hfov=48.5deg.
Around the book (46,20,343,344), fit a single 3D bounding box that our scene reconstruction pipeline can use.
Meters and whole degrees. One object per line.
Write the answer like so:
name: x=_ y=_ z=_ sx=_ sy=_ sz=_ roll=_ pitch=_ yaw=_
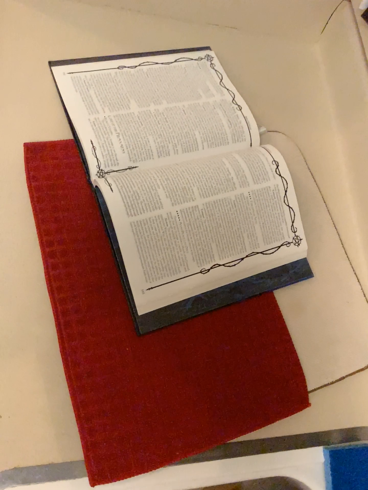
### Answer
book: x=0.009 y=-0.122 z=0.612 sx=0.290 sy=0.060 sz=0.450 roll=-18 pitch=77 yaw=-21
